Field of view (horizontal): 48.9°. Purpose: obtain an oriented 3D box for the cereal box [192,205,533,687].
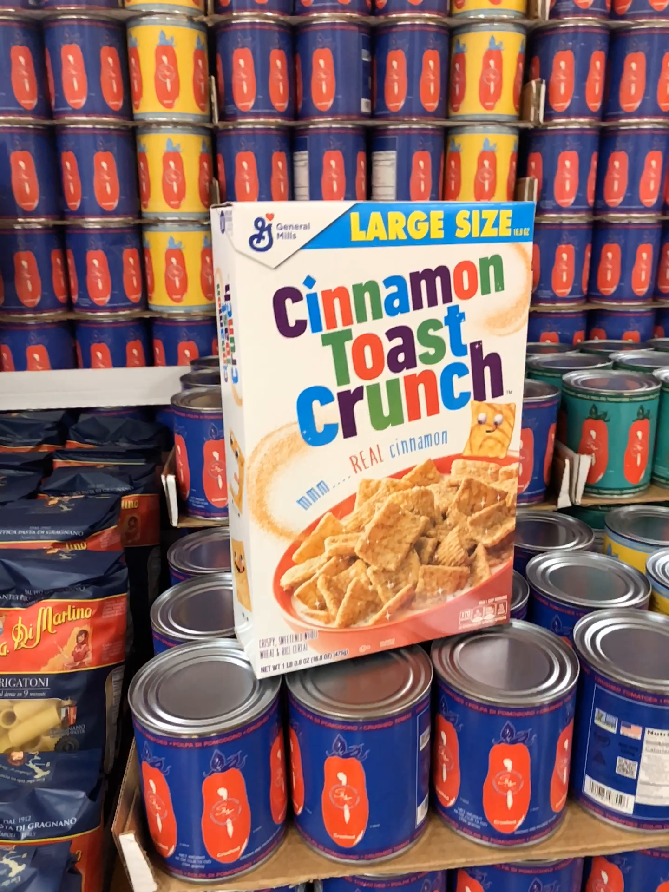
[{"bbox_3d":[0.019,-0.006,0.501,0.200,0.298,0.070,-7,18,-19],"label":"cereal box"}]
